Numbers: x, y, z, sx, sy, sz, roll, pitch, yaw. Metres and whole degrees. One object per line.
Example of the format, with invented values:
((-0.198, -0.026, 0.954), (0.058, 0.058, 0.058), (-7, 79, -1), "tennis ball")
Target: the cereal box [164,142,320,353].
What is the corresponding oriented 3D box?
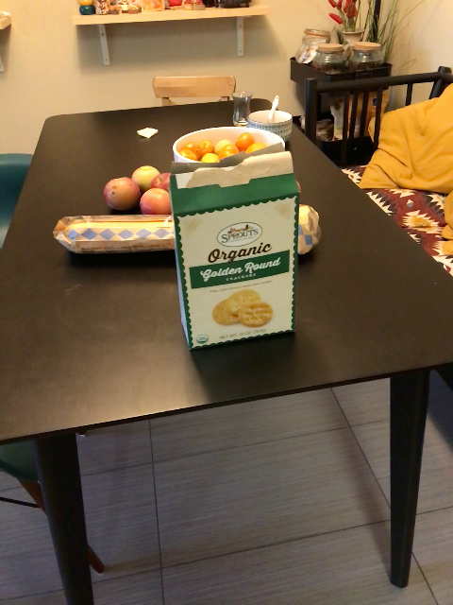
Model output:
((0.020, -0.067, 0.651), (0.170, 0.248, 0.080), (-9, 37, -9), "cereal box")
